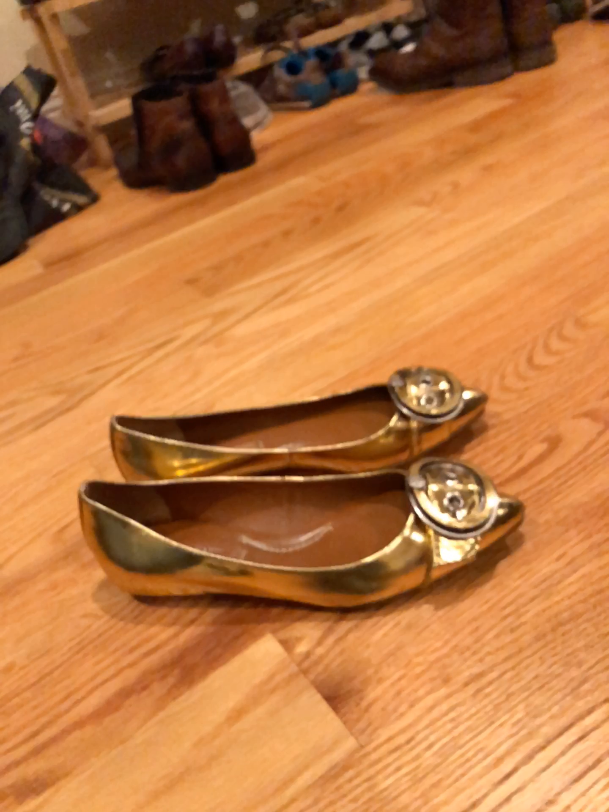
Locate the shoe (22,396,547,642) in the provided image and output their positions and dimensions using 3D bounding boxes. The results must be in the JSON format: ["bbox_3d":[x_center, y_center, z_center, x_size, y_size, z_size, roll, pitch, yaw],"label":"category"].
[{"bbox_3d":[-0.009,0.062,0.365,0.249,0.066,0.077,-9,35,11],"label":"shoe"}]

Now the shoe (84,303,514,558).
[{"bbox_3d":[-0.004,0.013,0.433,0.244,0.066,0.083,-15,34,2],"label":"shoe"}]
